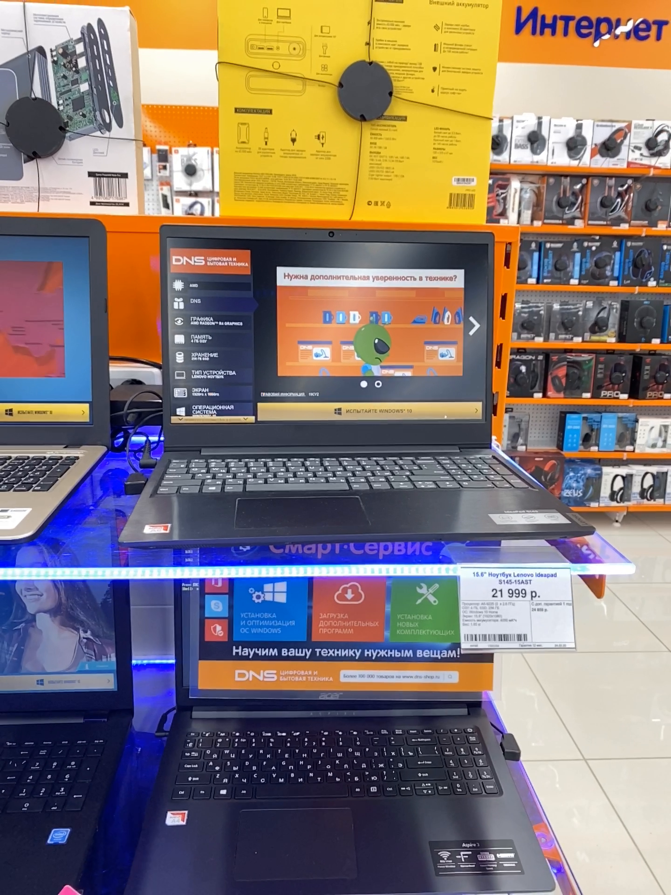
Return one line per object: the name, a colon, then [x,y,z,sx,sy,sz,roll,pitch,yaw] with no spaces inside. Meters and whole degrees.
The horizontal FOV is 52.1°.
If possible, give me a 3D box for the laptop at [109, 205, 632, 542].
laptop: [0.012,-0.084,0.635,0.358,0.233,0.298,-1,14,-6]
